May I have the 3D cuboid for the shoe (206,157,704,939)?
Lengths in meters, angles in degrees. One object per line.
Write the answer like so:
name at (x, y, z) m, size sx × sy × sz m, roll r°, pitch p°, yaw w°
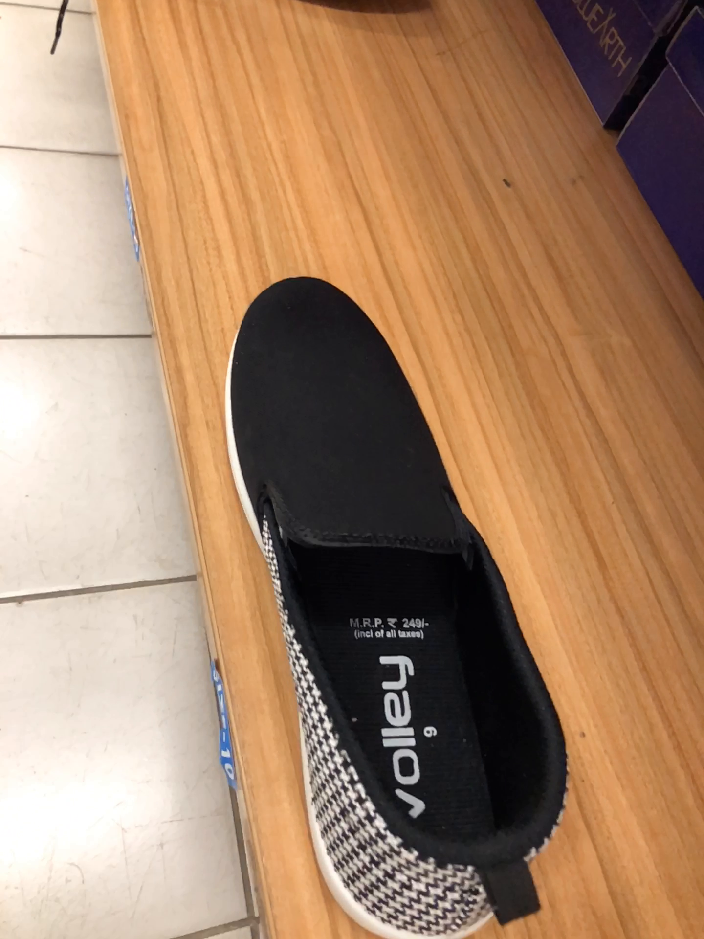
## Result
shoe at (0.018, 0.021, 0.302) m, size 0.100 × 0.089 × 0.291 m, roll -3°, pitch 62°, yaw -21°
